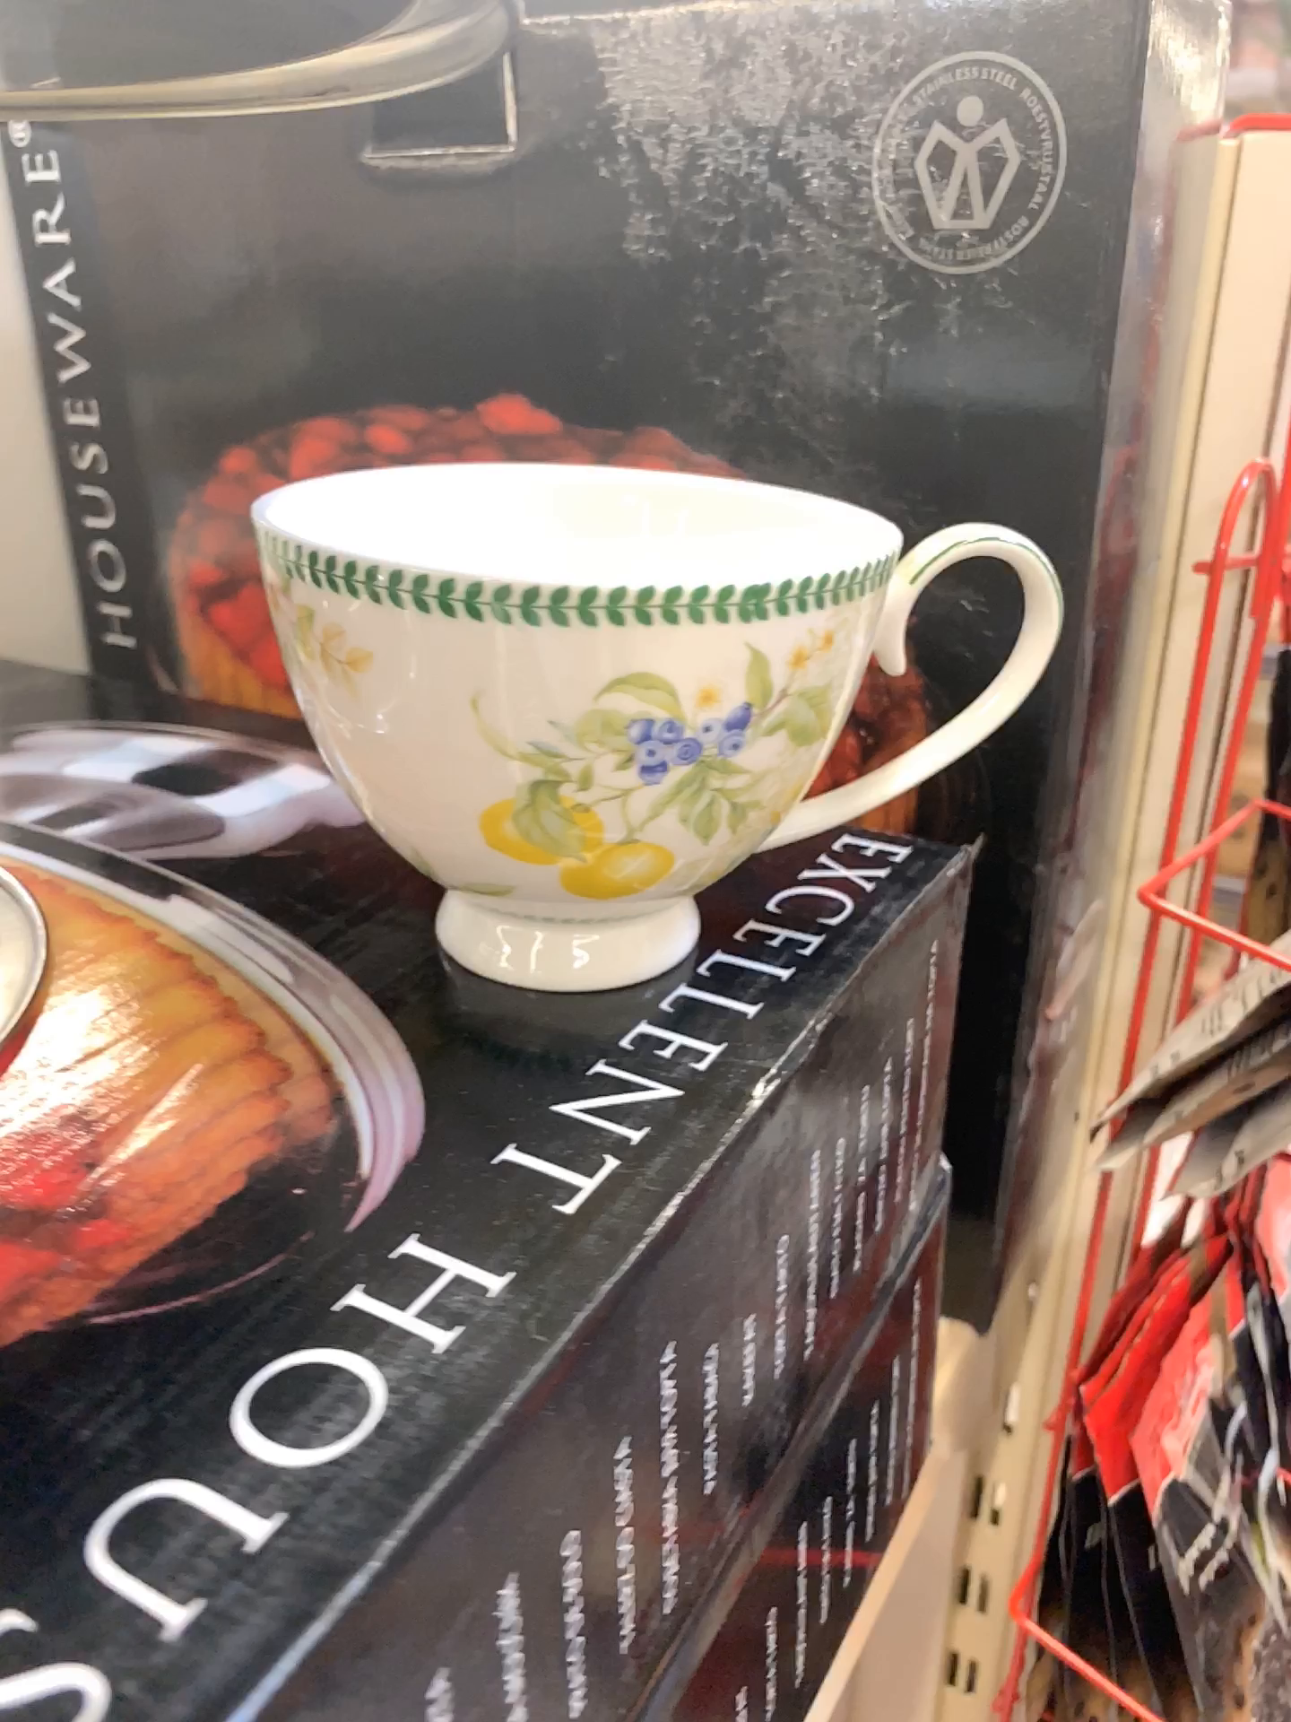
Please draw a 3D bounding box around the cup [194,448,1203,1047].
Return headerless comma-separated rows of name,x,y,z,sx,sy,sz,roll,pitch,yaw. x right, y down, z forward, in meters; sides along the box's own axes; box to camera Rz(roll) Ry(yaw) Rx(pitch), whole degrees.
cup,0.004,-0.028,0.232,0.130,0.070,0.100,-2,25,-6
